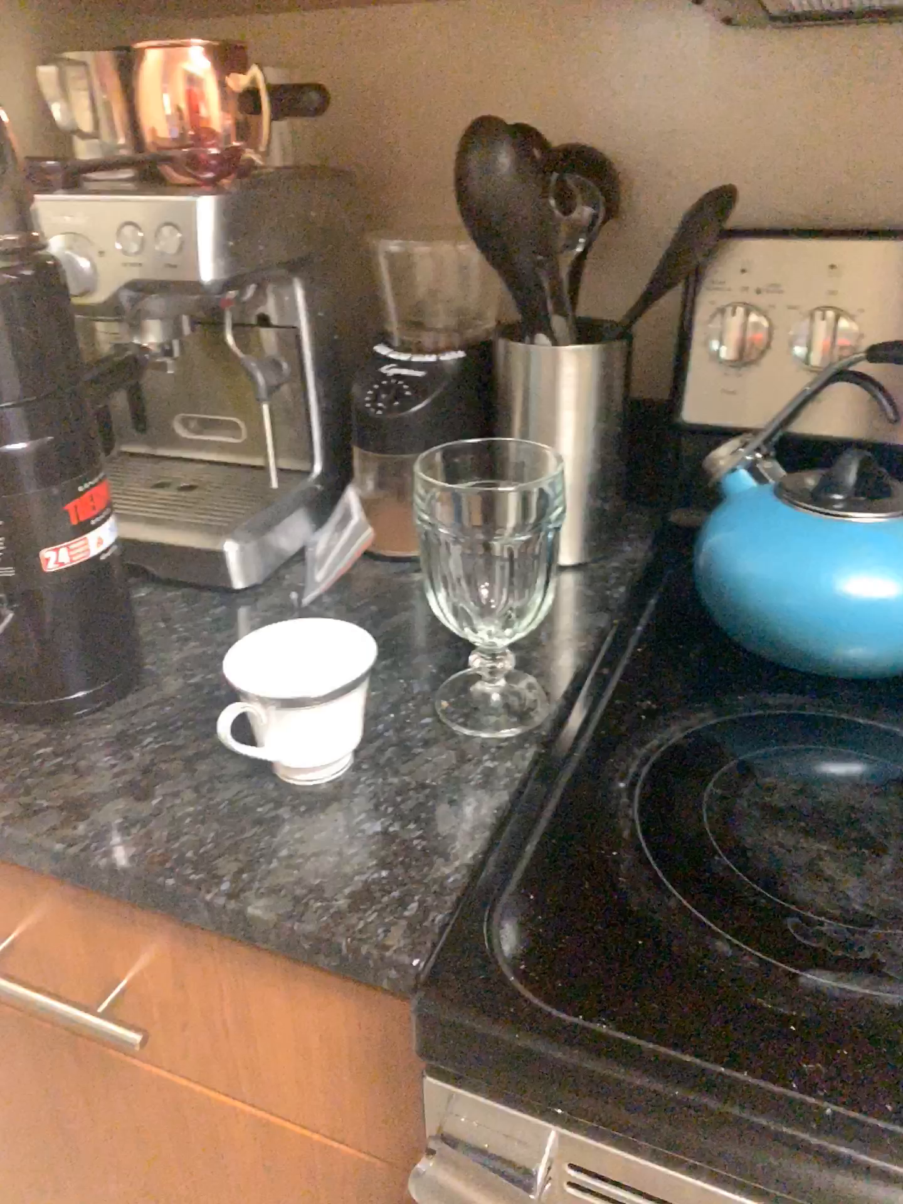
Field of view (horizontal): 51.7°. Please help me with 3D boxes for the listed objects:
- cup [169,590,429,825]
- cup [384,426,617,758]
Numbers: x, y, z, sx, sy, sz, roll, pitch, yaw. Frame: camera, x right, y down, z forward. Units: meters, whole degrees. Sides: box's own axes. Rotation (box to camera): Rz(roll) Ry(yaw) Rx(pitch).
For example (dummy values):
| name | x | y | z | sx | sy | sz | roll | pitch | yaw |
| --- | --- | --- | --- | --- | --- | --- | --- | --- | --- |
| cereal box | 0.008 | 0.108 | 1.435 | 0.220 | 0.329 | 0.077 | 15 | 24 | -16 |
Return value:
| name | x | y | z | sx | sy | sz | roll | pitch | yaw |
| --- | --- | --- | --- | --- | --- | --- | --- | --- | --- |
| cup | -0.087 | 0.057 | 0.558 | 0.100 | 0.070 | 0.110 | -1 | 27 | 1 |
| cup | 0.034 | -0.012 | 0.611 | 0.100 | 0.169 | 0.110 | -1 | 27 | 1 |
